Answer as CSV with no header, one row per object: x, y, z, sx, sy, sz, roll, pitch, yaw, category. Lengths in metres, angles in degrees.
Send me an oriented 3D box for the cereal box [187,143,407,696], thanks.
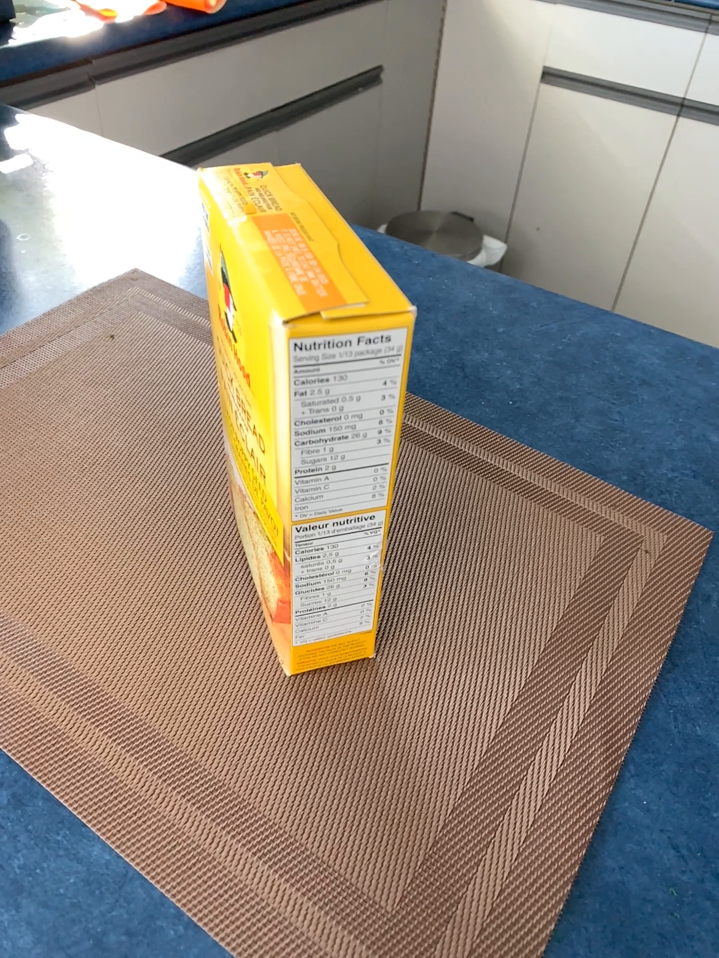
-0.032,-0.021,0.302,0.040,0.178,0.131,-10,45,-16,cereal box
